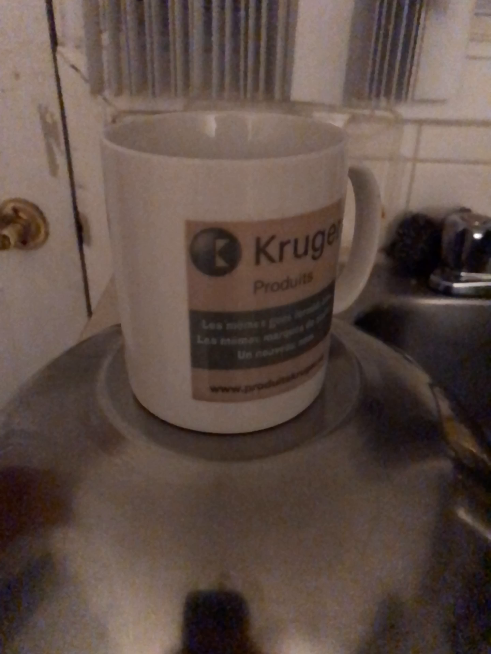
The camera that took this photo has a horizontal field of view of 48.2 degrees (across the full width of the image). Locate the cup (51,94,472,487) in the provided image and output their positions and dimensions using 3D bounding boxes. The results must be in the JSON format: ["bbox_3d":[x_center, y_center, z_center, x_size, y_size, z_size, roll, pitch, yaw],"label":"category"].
[{"bbox_3d":[0.001,-0.026,0.221,0.120,0.109,0.091,-14,34,-25],"label":"cup"}]
